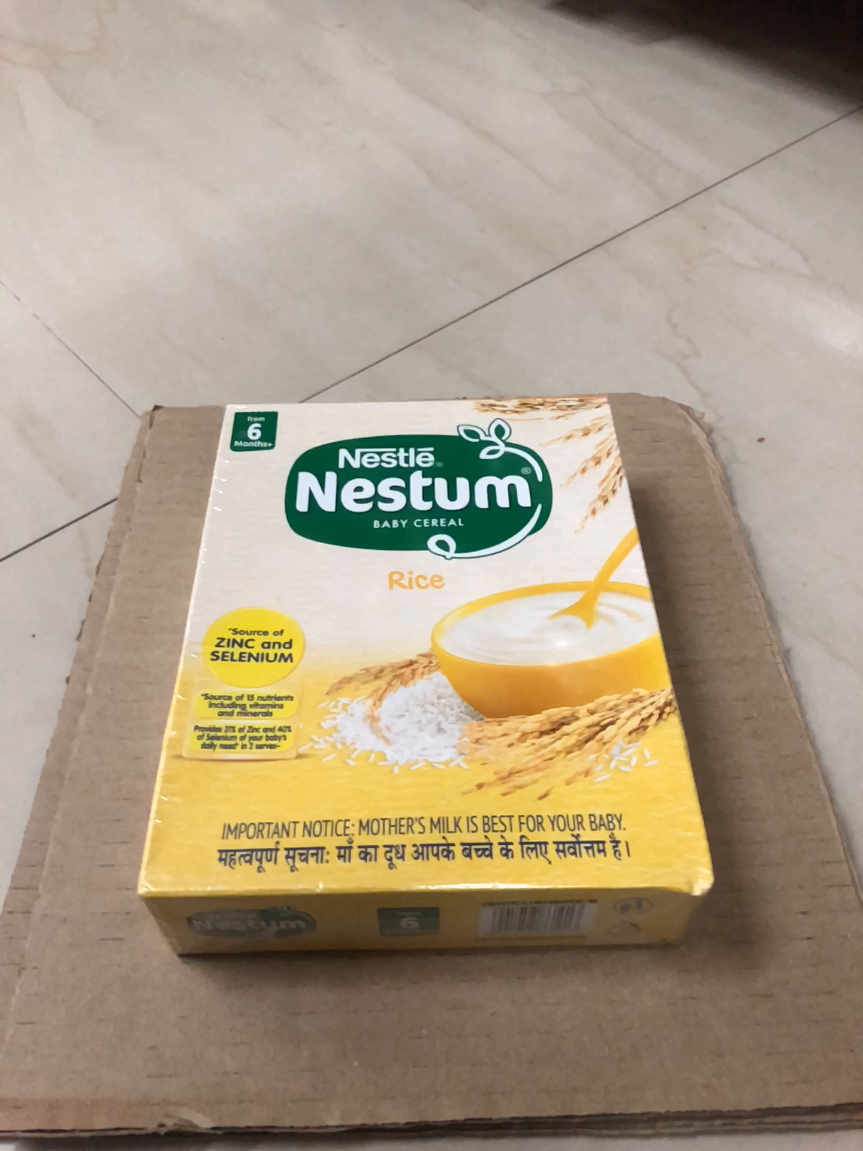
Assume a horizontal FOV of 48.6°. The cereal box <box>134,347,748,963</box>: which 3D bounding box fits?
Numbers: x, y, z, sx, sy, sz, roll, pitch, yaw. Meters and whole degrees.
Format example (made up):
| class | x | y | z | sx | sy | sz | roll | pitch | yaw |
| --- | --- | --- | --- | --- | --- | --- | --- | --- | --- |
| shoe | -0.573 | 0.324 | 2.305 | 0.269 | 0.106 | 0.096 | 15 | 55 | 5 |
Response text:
| class | x | y | z | sx | sy | sz | roll | pitch | yaw |
| --- | --- | --- | --- | --- | --- | --- | --- | --- | --- |
| cereal box | 0.001 | 0.012 | 0.324 | 0.150 | 0.060 | 0.211 | 0 | 50 | -1 |
